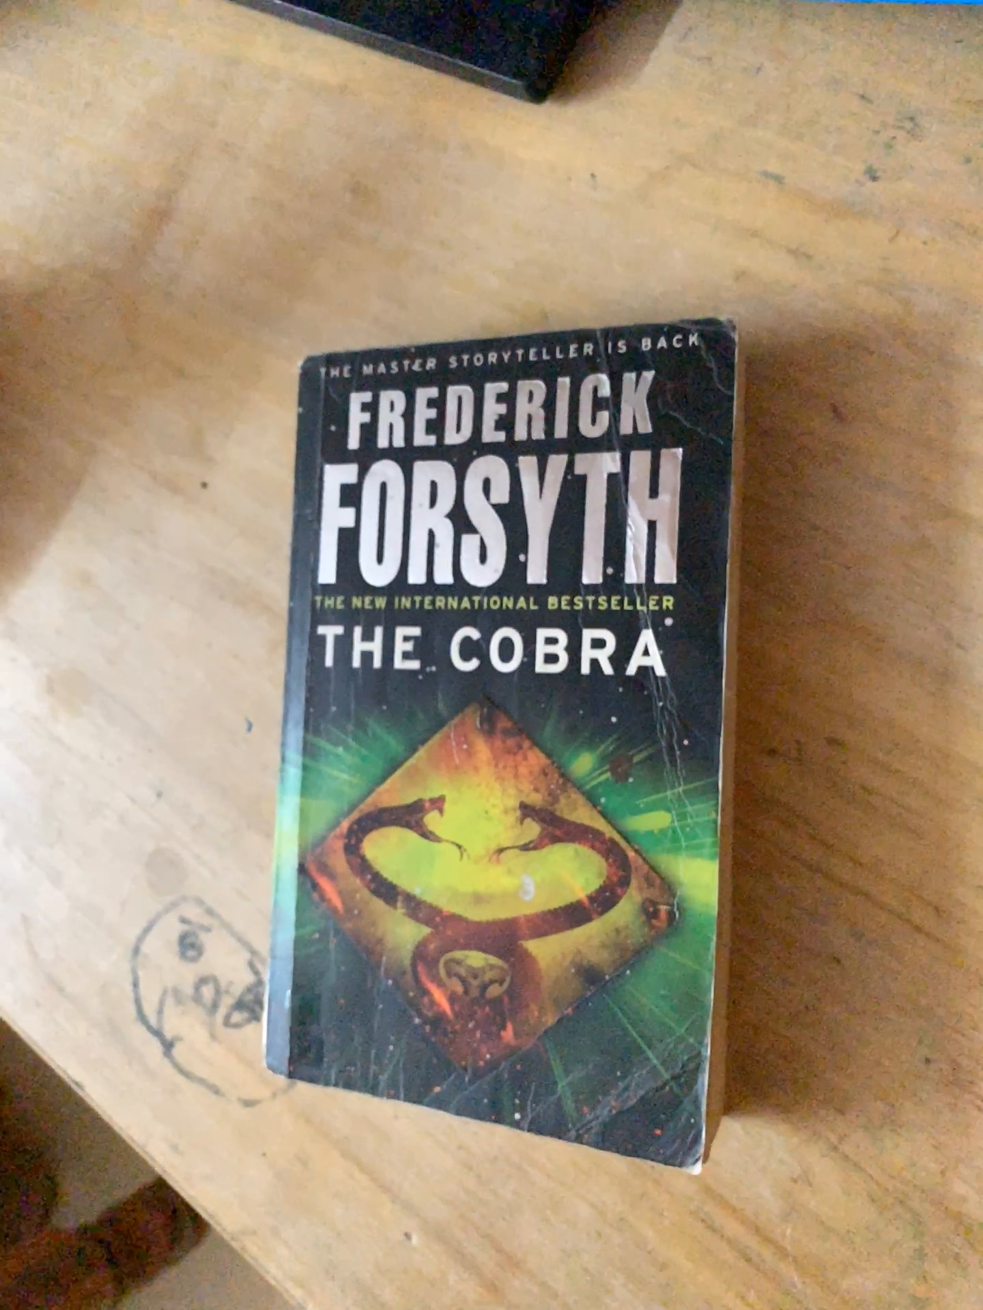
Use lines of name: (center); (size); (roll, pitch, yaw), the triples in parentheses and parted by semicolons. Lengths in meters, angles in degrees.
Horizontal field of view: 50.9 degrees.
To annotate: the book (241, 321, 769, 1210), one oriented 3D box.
book: (0.004, 0.018, 0.224); (0.100, 0.040, 0.160); (1, 86, 22)
